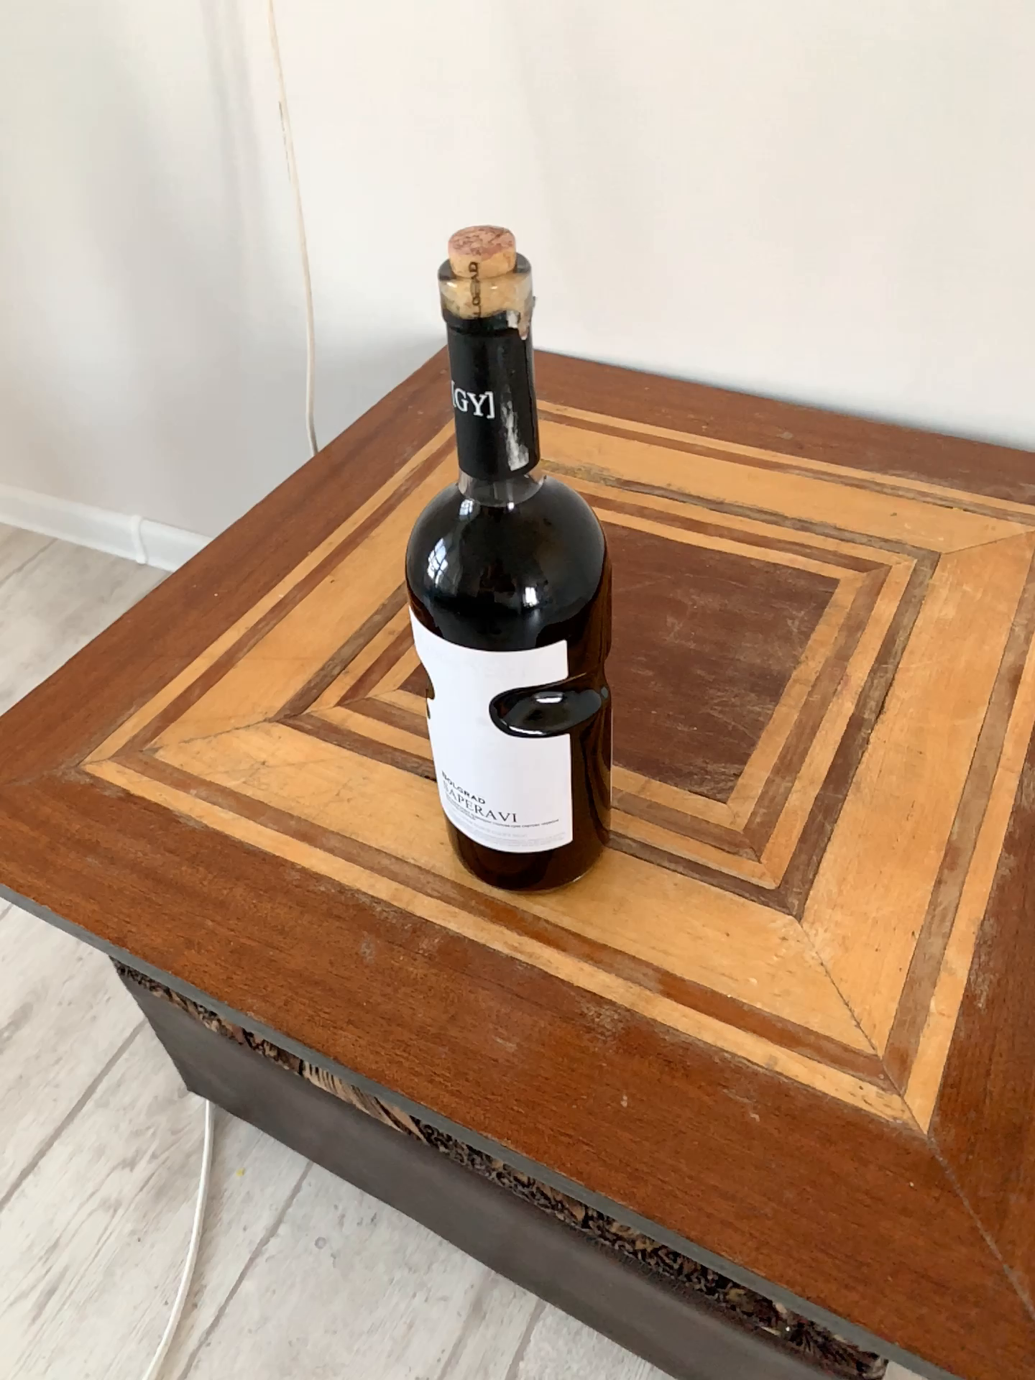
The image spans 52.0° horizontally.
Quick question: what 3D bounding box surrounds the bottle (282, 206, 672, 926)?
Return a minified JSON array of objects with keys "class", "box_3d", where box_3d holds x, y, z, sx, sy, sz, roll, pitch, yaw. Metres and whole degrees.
[{"class":"bottle","box_3d":[-0.003,-0.035,0.427,0.090,0.269,0.090,-3,43,2]}]
